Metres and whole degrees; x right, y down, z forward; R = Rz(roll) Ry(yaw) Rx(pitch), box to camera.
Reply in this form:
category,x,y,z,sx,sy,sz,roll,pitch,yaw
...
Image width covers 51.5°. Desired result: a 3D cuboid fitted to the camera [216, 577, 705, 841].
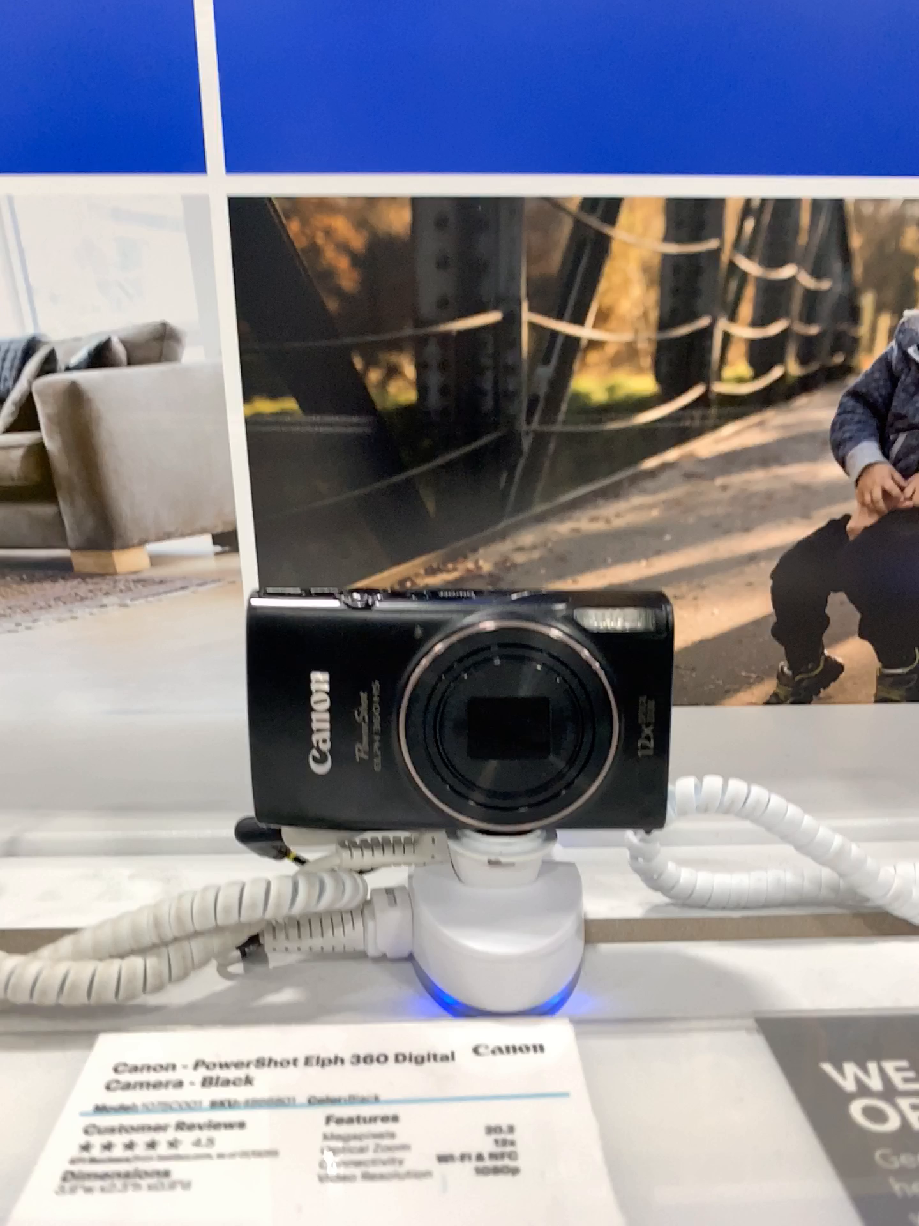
category,x,y,z,sx,sy,sz,roll,pitch,yaw
camera,0.000,0.022,0.224,0.106,0.056,0.027,0,10,-2
